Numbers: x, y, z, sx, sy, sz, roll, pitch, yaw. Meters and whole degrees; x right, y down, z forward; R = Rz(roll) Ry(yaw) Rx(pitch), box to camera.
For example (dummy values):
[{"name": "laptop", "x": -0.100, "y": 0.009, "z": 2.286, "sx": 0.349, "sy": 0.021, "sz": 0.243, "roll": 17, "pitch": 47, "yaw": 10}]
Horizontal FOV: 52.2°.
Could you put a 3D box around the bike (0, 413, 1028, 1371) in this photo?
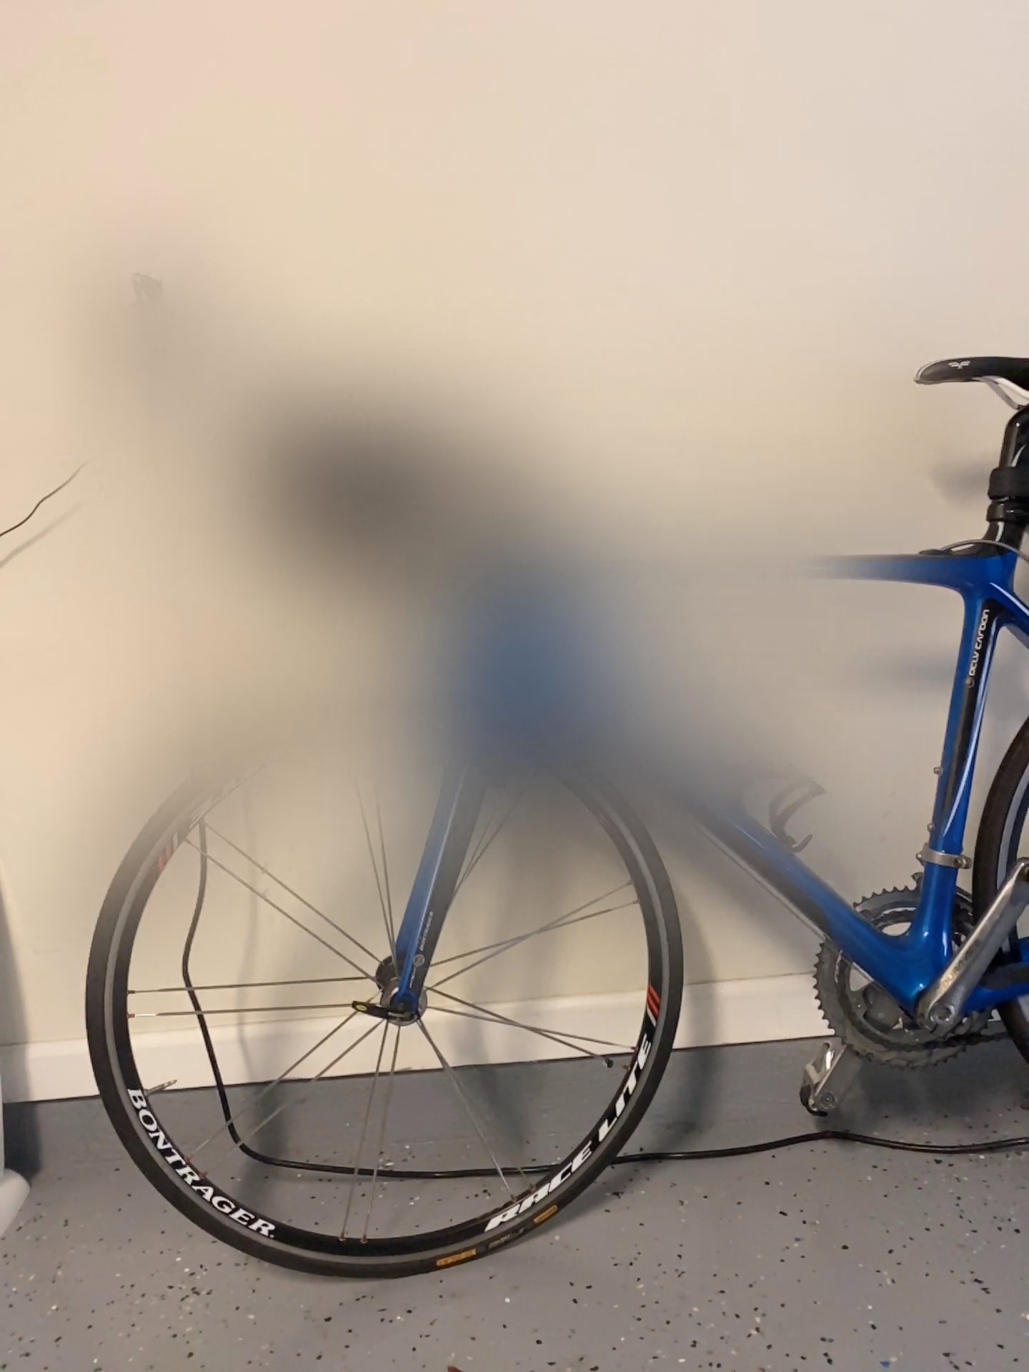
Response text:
[{"name": "bike", "x": 0.418, "y": 0.202, "z": 1.071, "sx": 1.638, "sy": 0.884, "sz": 0.401, "roll": -4, "pitch": 6, "yaw": -8}]
